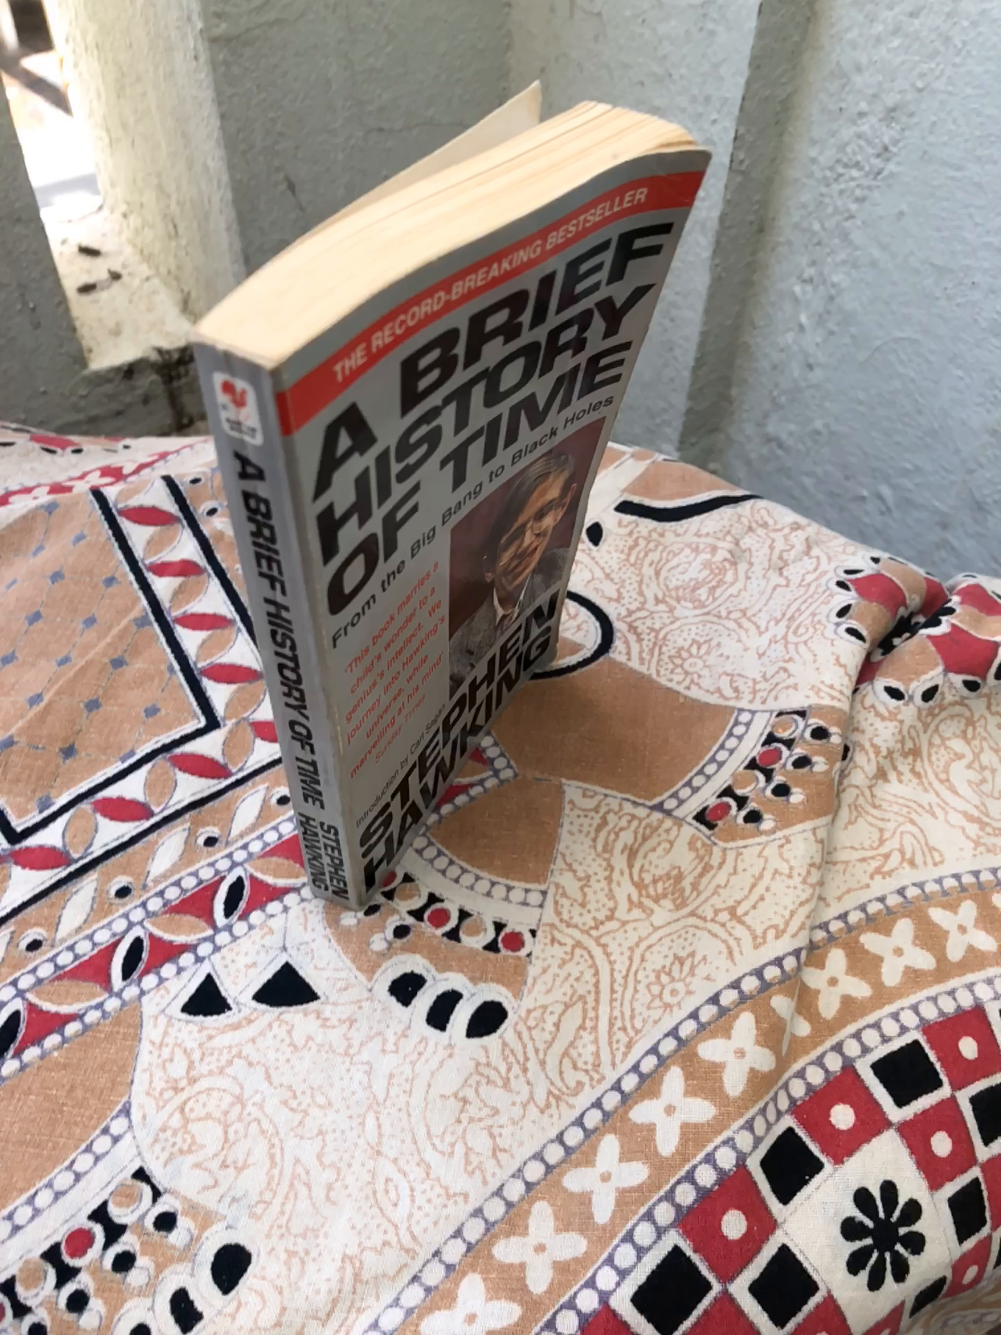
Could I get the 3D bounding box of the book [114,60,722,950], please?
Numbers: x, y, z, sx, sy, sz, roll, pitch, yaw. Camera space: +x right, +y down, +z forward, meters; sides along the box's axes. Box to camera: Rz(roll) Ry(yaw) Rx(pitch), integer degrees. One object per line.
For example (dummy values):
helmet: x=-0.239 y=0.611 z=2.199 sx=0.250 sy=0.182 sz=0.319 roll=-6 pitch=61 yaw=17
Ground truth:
book: x=-0.011 y=-0.028 z=0.260 sx=0.030 sy=0.169 sz=0.130 roll=31 pitch=56 yaw=20
